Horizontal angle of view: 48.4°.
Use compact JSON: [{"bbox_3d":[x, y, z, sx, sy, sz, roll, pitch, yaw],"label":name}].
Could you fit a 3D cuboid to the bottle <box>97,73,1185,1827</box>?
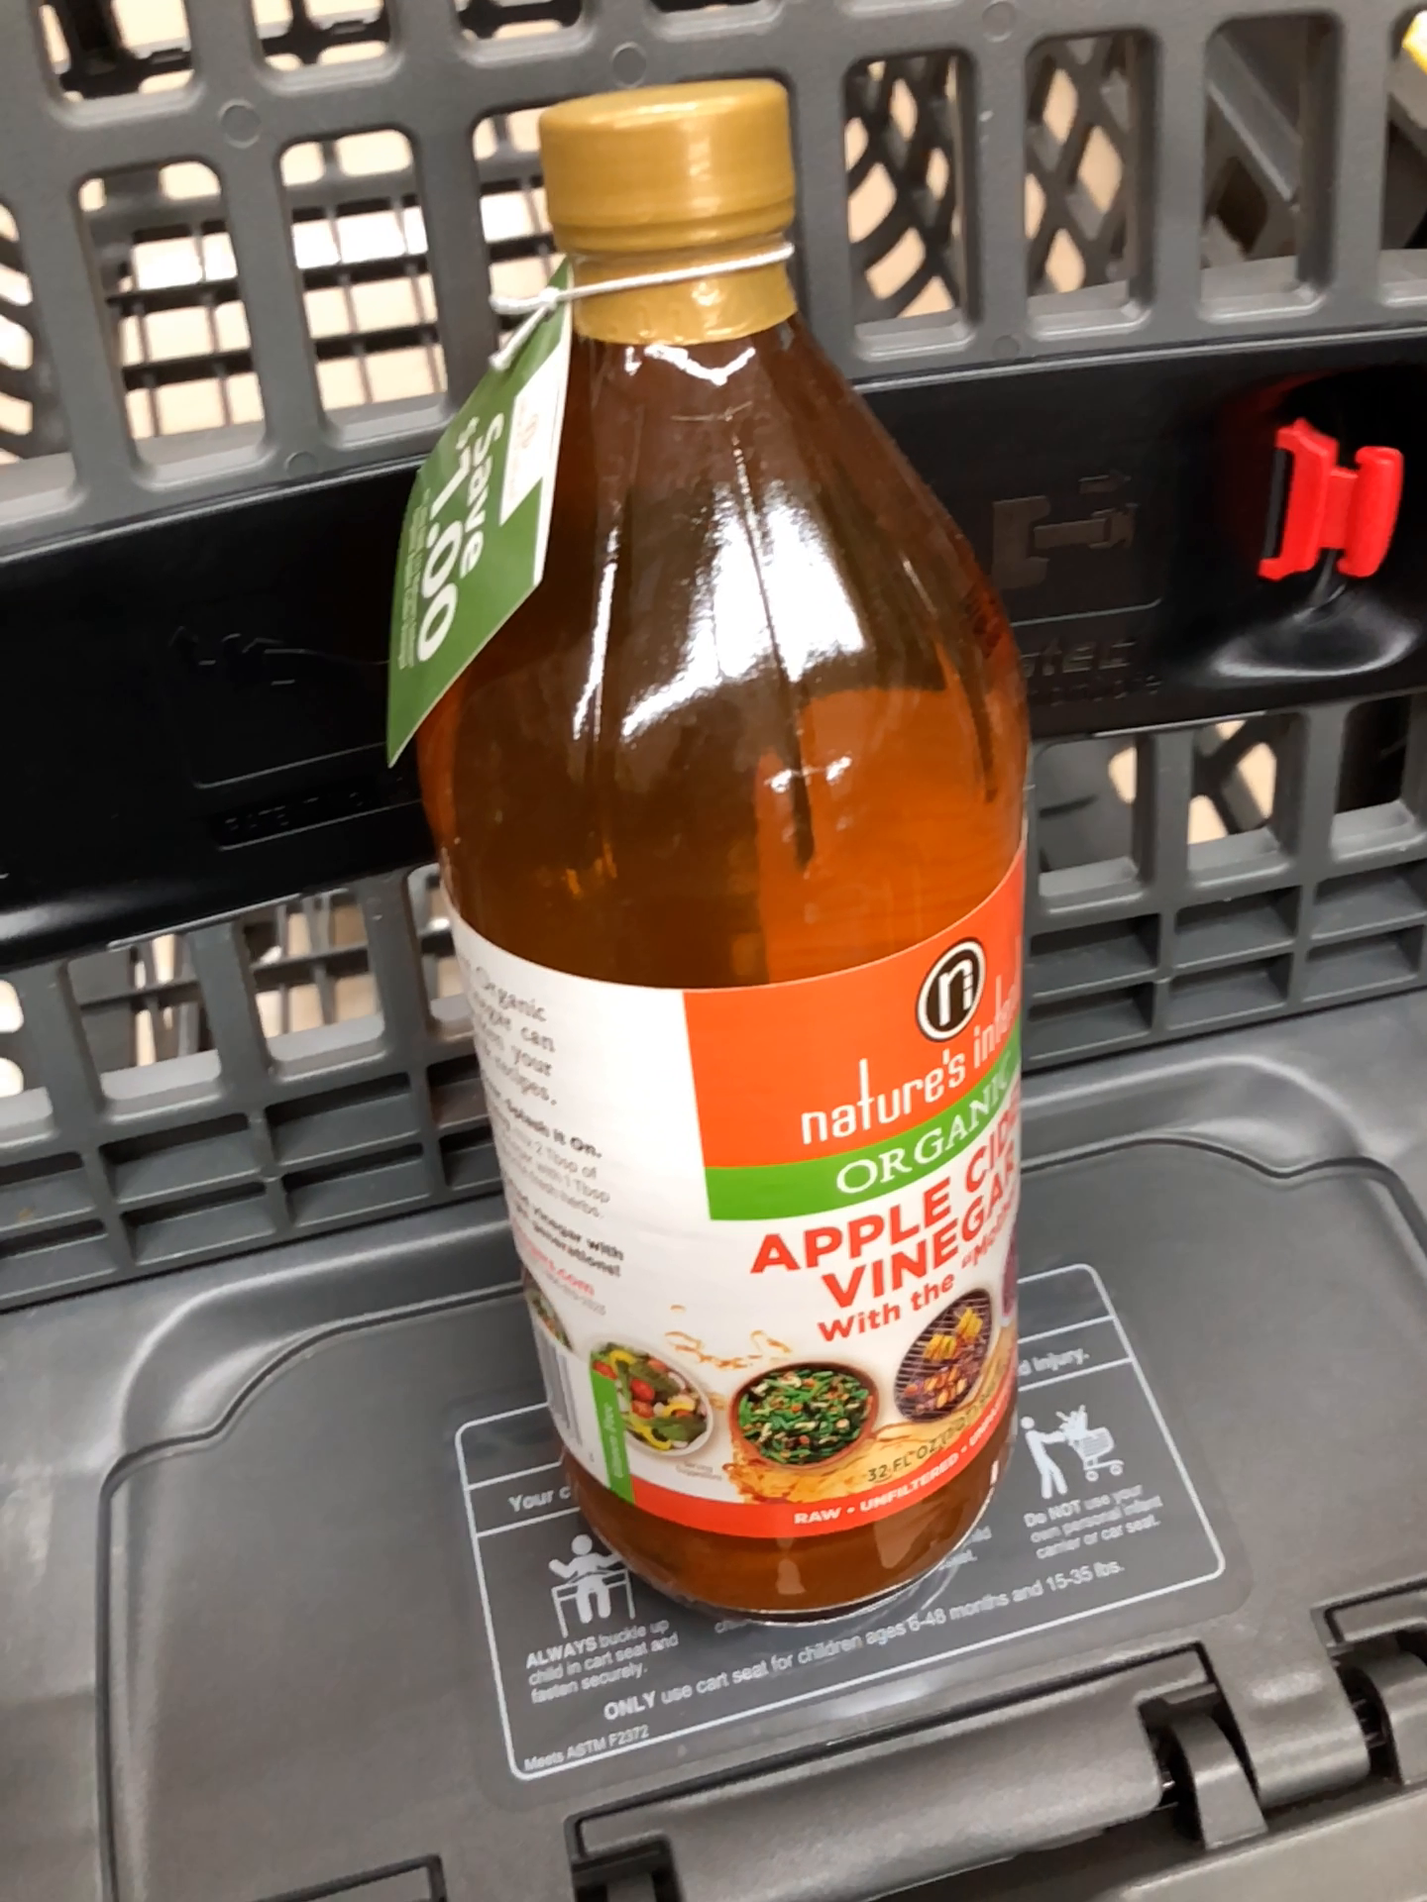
[{"bbox_3d":[0.002,0.004,0.254,0.100,0.240,0.090,-29,36,-34],"label":"bottle"}]
